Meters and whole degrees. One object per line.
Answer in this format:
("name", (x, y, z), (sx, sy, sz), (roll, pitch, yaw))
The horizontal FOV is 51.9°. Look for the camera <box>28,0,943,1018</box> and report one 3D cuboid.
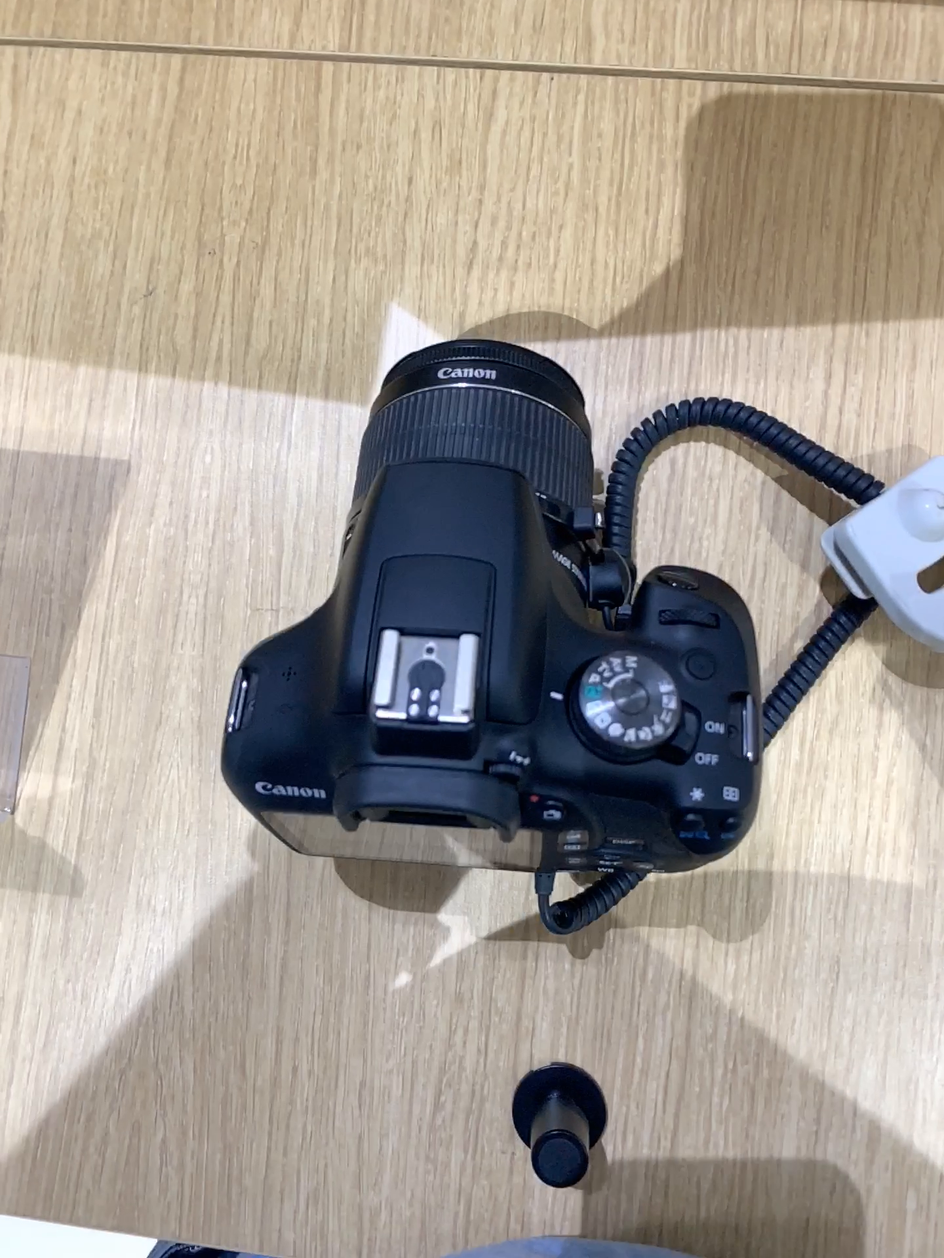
("camera", (0.005, -0.022, 0.215), (0.140, 0.110, 0.160), (5, 89, 5))
